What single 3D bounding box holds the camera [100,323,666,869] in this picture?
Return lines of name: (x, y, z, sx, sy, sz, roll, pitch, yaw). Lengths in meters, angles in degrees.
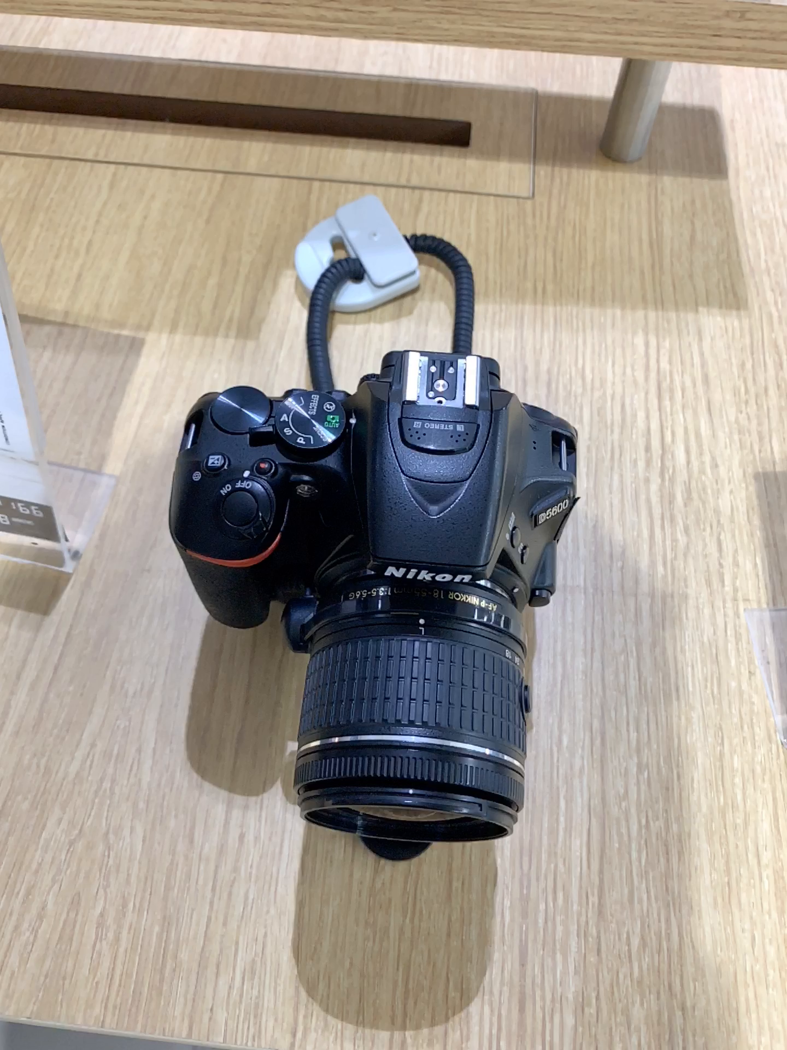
camera: (0.000, 0.021, 0.222, 0.110, 0.080, 0.120, 3, 61, 0)
